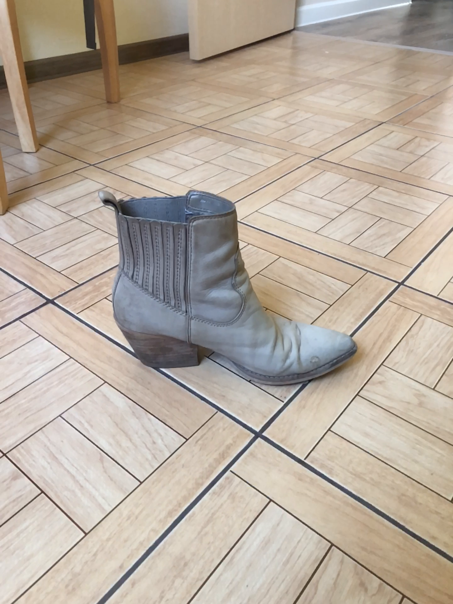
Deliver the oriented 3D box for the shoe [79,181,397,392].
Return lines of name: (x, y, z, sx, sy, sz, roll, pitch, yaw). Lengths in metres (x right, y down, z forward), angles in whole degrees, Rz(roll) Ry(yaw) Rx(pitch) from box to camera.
shoe: (0.009, -0.013, 0.499, 0.260, 0.179, 0.090, 2, 36, 1)
